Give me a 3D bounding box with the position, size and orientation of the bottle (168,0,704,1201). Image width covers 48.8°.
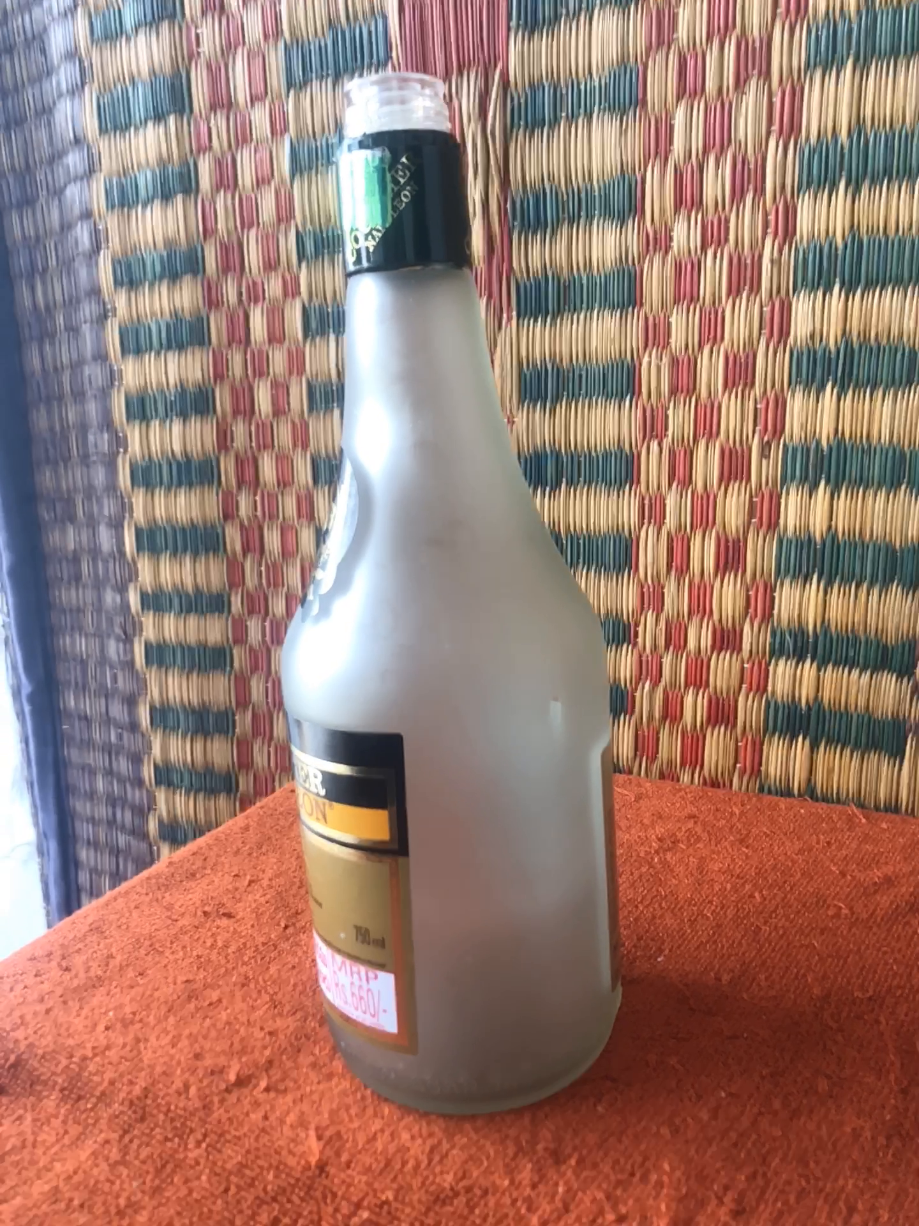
[{"bbox_3d":[-0.002,-0.002,0.256,0.090,0.249,0.100,-6,15,-7],"label":"bottle"}]
